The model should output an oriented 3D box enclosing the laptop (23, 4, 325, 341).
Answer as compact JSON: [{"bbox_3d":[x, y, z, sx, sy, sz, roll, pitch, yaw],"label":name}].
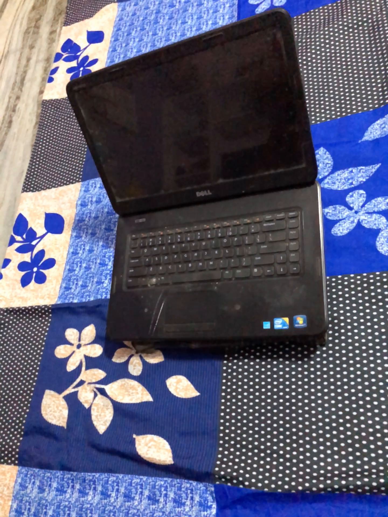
[{"bbox_3d":[-0.014,-0.100,0.646,0.363,0.187,0.390,-7,67,23],"label":"laptop"}]
